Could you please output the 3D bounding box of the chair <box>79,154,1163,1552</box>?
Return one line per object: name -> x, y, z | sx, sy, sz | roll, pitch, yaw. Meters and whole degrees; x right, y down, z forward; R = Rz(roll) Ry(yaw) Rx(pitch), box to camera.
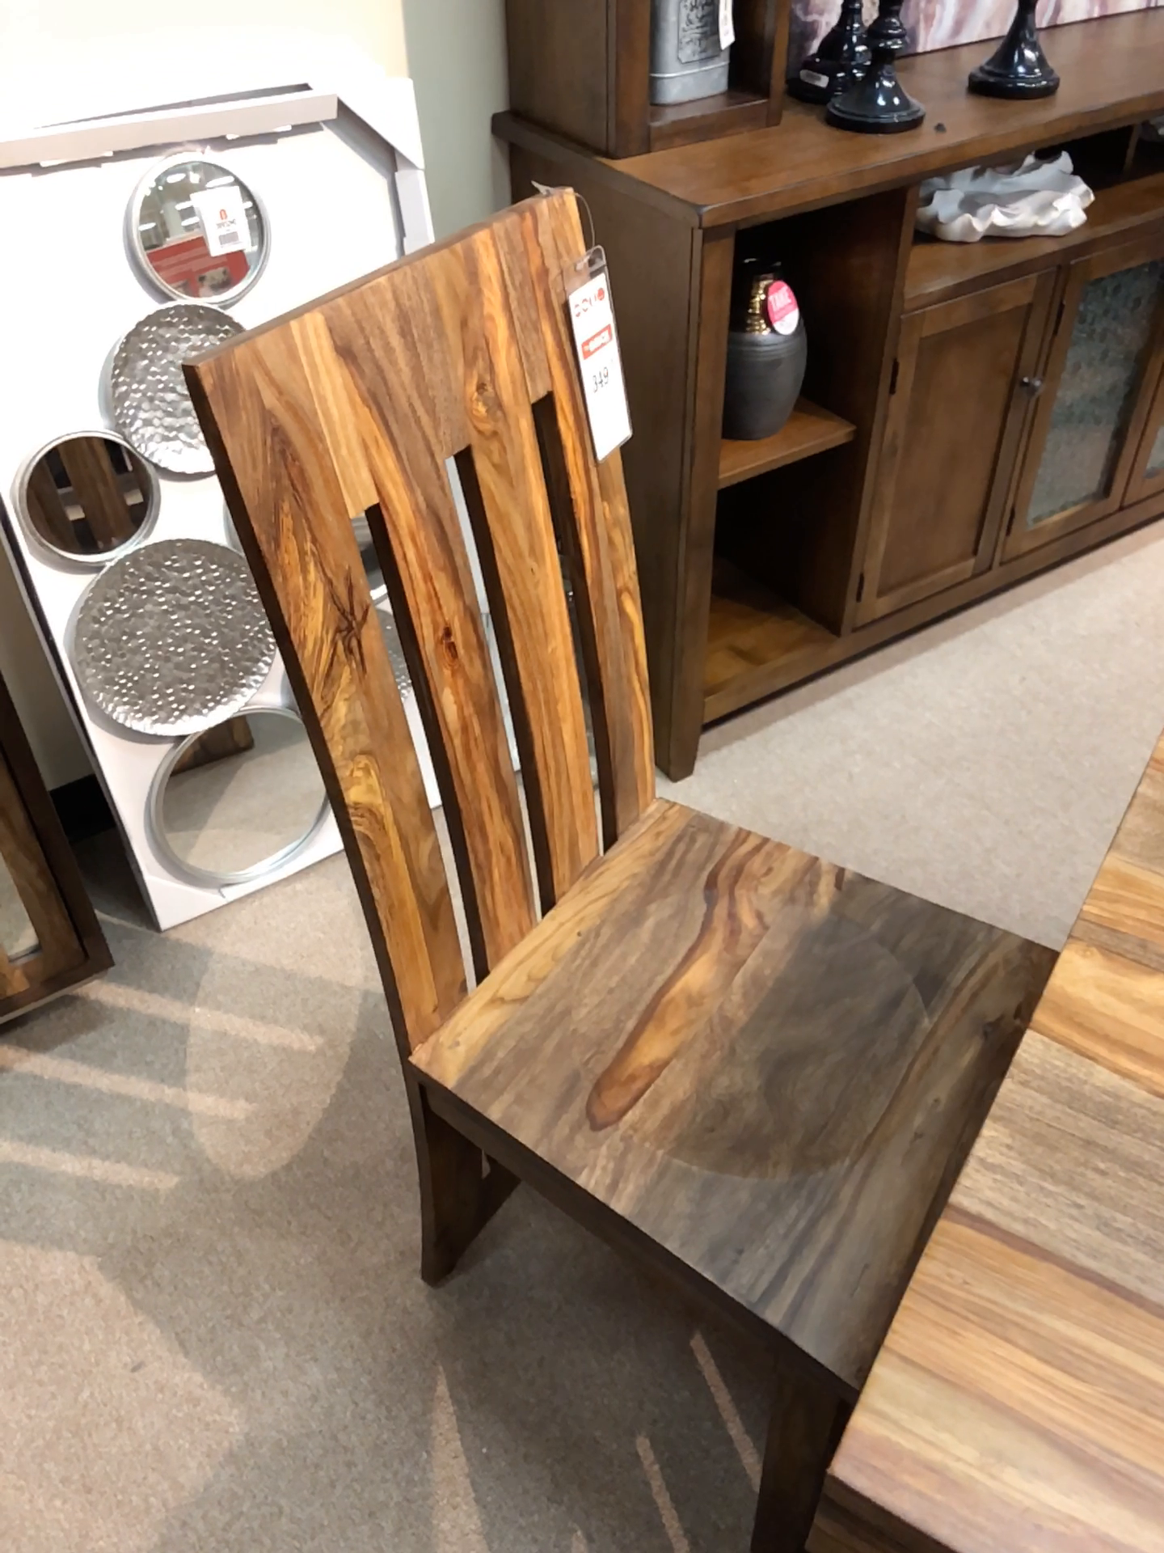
chair -> 0.109, 0.132, 1.084 | 0.592, 1.023, 0.512 | 25, 48, 26
